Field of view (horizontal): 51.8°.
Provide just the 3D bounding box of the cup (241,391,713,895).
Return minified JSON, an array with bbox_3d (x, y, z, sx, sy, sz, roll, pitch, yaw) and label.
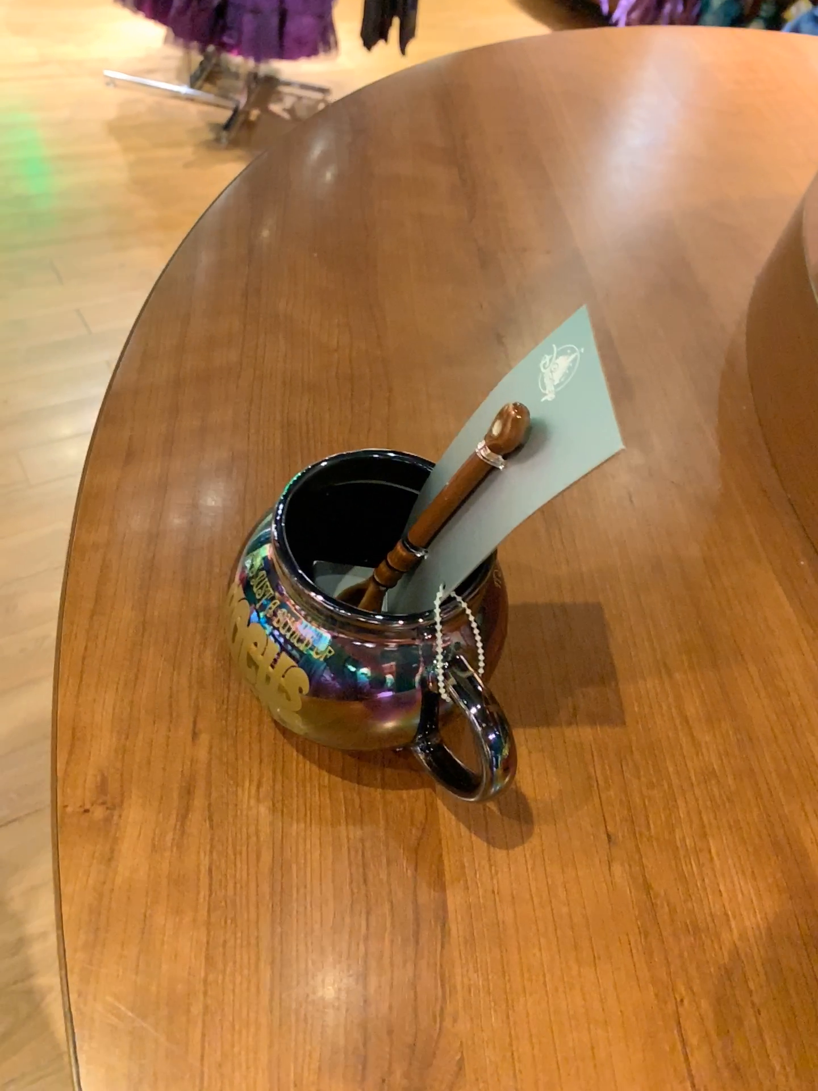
[{"bbox_3d":[0.014,0.030,0.319,0.100,0.089,0.136,-23,58,-28],"label":"cup"}]
